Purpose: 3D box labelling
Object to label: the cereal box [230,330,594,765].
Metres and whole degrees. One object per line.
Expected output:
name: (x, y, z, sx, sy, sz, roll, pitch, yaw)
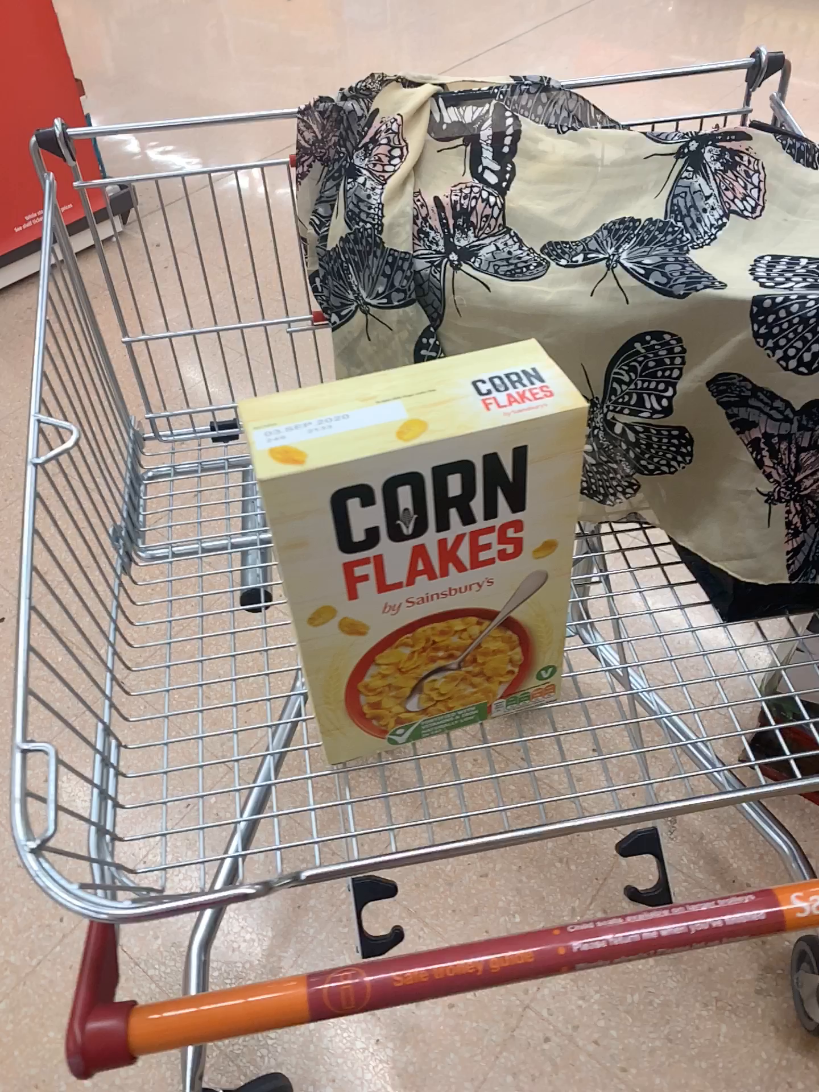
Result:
cereal box: (0.005, 0.015, 0.566, 0.190, 0.277, 0.081, -14, 45, -10)
